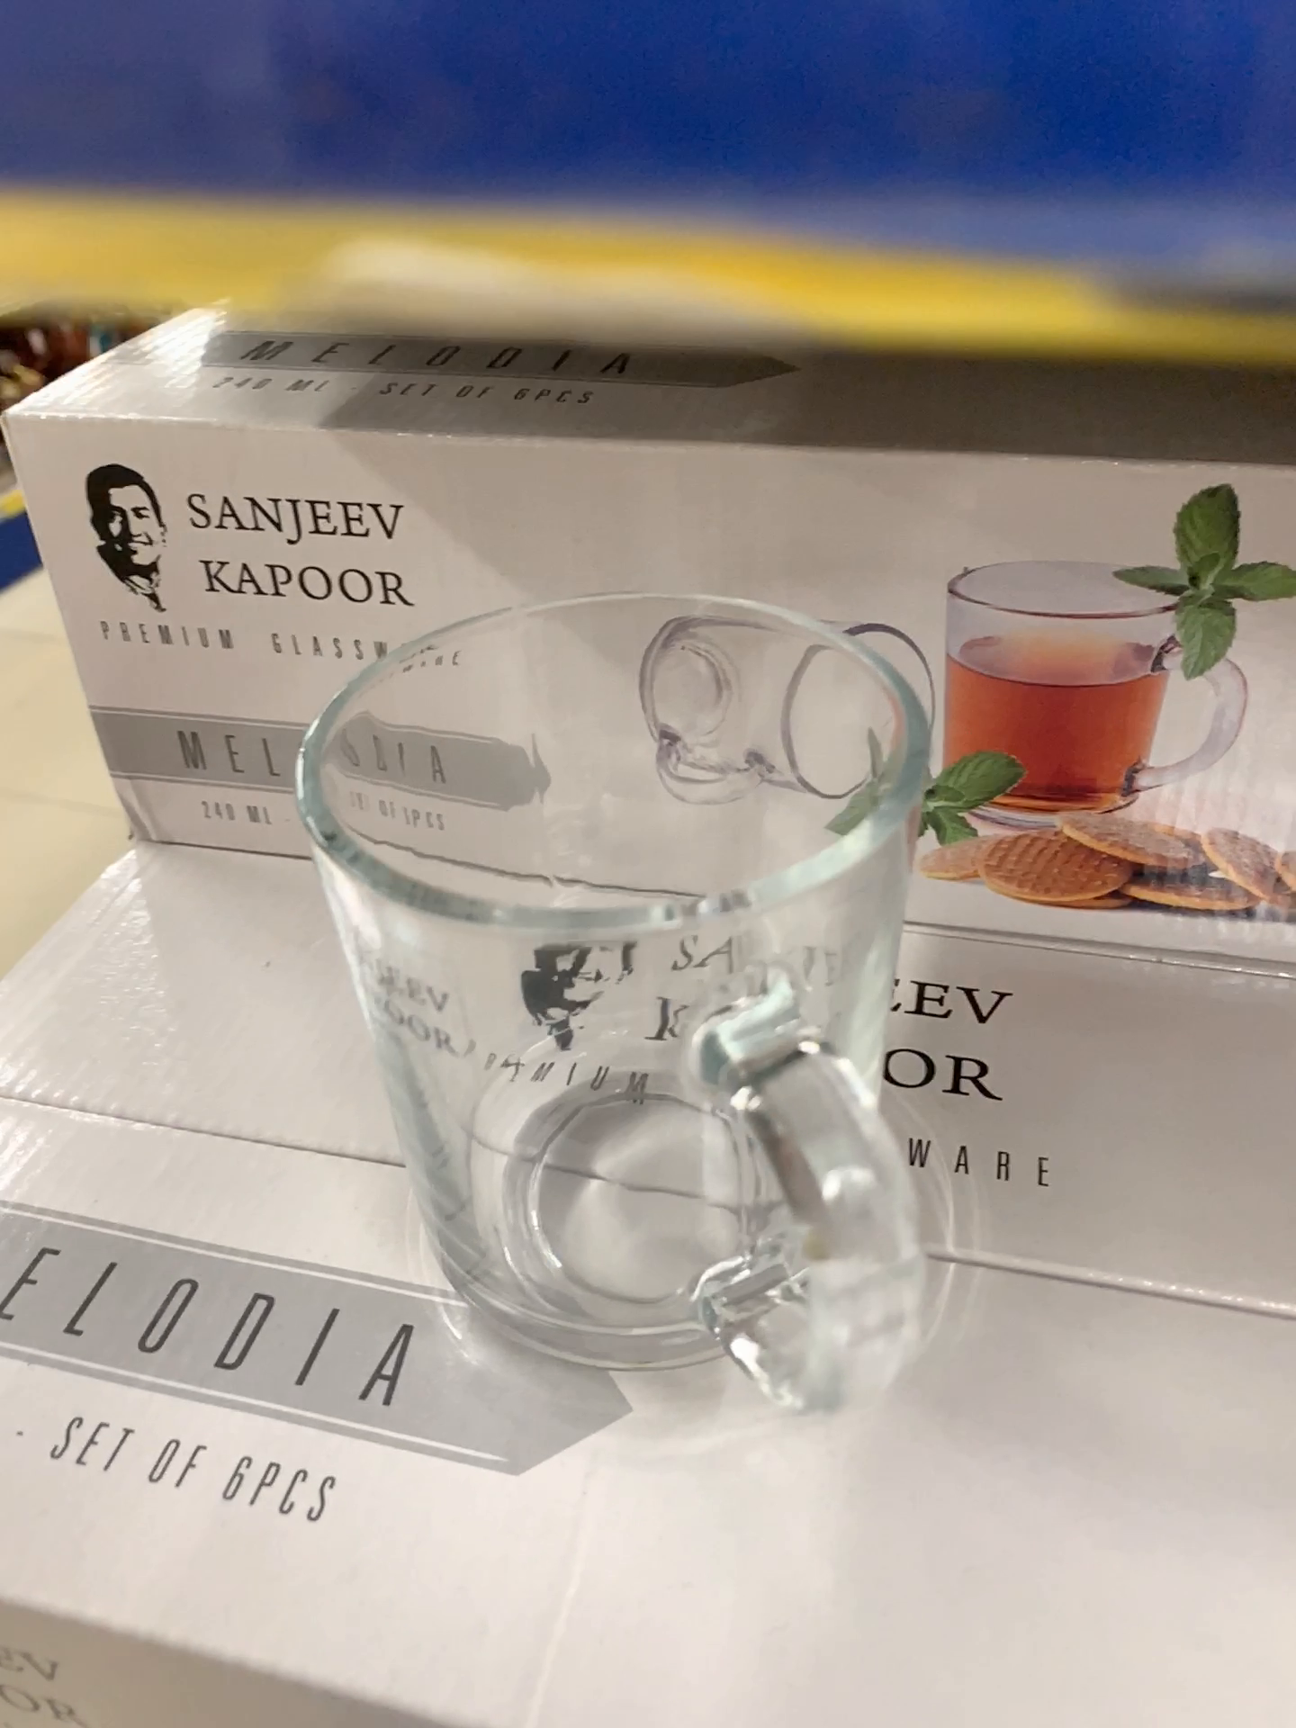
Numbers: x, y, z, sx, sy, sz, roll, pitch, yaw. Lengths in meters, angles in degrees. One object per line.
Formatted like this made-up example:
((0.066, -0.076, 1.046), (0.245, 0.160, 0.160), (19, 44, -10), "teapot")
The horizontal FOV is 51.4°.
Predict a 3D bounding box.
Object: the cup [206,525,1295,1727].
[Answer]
((0.009, 0.021, 0.160), (0.070, 0.080, 0.100), (-25, 42, -30), "cup")
